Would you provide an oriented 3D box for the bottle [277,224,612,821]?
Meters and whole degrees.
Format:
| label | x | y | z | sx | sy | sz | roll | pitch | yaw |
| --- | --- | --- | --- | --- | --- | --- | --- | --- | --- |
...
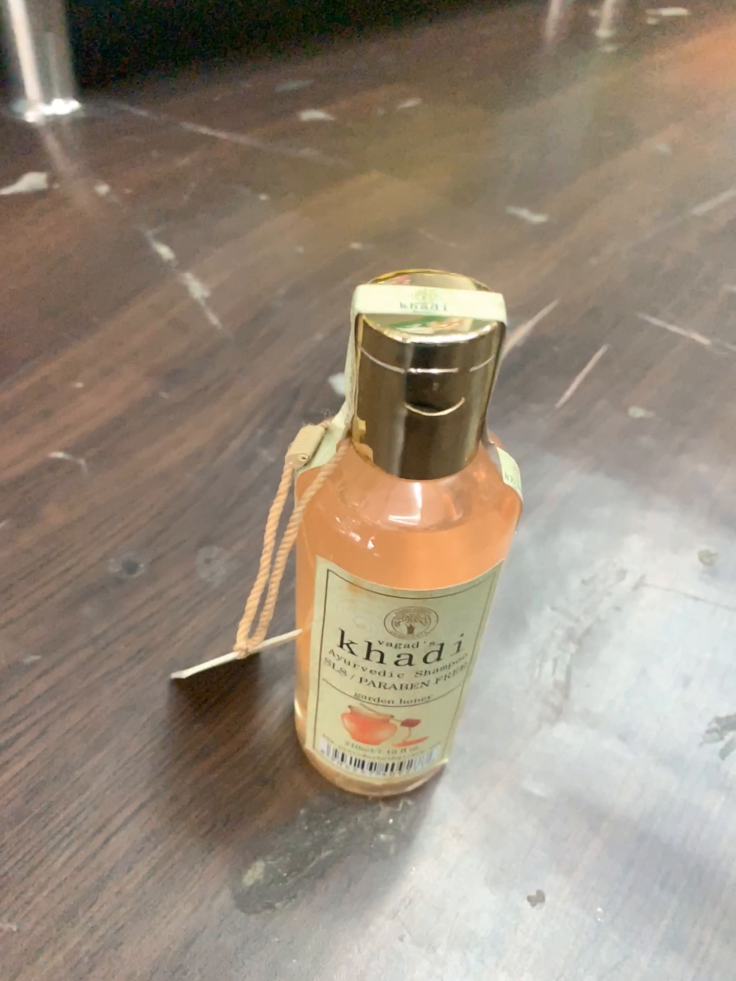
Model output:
| label | x | y | z | sx | sy | sz | roll | pitch | yaw |
| --- | --- | --- | --- | --- | --- | --- | --- | --- | --- |
| bottle | 0.006 | 0.021 | 0.184 | 0.050 | 0.149 | 0.050 | 3 | 43 | -3 |
